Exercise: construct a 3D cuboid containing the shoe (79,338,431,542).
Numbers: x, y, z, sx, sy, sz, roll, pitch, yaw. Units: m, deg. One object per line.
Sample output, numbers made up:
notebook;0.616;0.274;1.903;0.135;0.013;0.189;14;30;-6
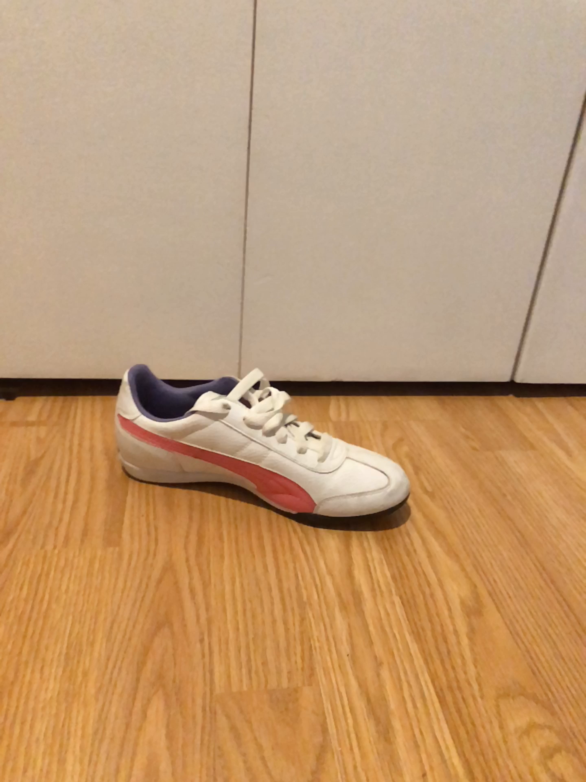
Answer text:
shoe;-0.027;0.032;0.530;0.260;0.080;0.100;10;27;10
